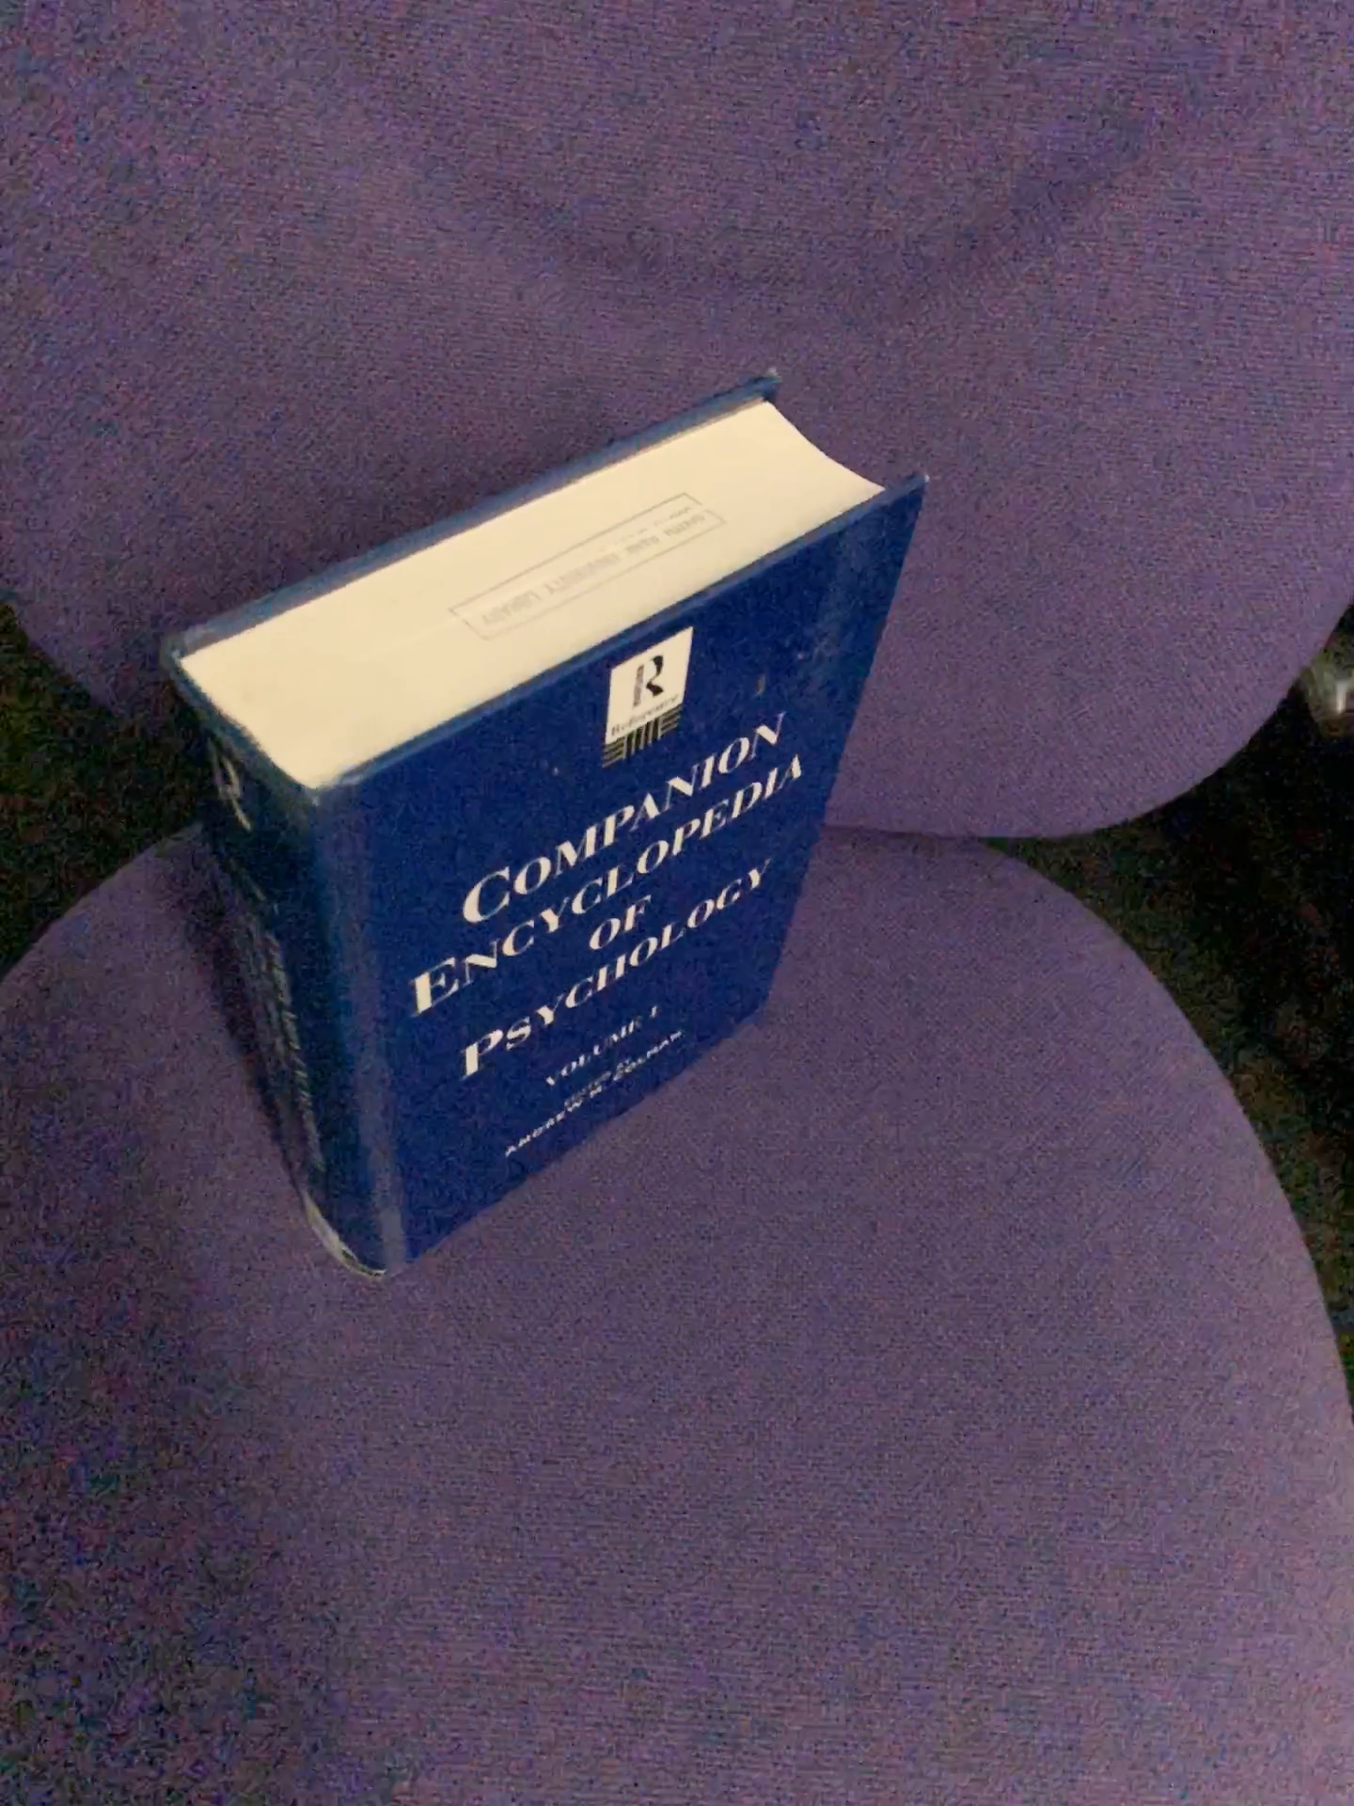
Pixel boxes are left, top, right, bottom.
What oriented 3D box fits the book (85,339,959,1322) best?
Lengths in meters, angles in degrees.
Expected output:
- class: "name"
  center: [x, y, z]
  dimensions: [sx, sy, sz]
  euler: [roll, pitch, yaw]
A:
- class: "book"
  center: [-0.035, 0.001, 0.392]
  dimensions: [0.182, 0.264, 0.052]
  euler: [-34, 66, -25]
